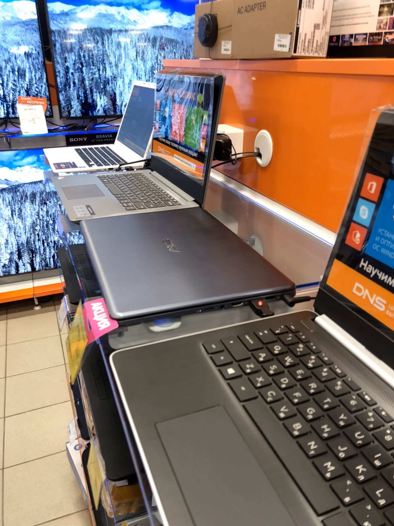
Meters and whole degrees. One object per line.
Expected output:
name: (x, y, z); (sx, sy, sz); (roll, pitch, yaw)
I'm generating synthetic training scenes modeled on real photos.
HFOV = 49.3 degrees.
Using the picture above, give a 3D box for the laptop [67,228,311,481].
laptop: (-0.045, 0.119, 0.787); (0.313, 0.227, 0.378); (-8, 25, -18)

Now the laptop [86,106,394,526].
laptop: (0.107, 0.037, 0.255); (0.271, 0.205, 0.337); (-9, 27, -20)

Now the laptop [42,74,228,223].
laptop: (-0.142, -0.262, 0.883); (0.289, 0.224, 0.354); (-10, 26, -20)

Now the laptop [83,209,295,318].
laptop: (-0.038, -0.021, 0.618); (0.213, 0.001, 0.325); (-8, 25, -17)
